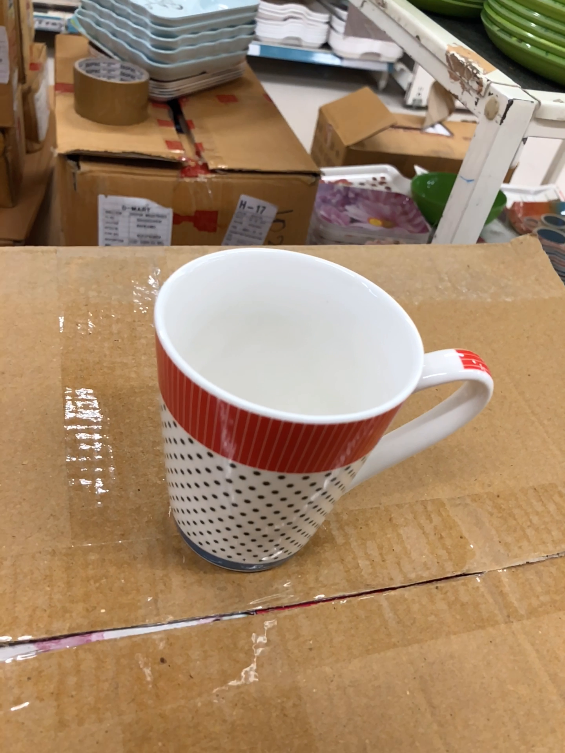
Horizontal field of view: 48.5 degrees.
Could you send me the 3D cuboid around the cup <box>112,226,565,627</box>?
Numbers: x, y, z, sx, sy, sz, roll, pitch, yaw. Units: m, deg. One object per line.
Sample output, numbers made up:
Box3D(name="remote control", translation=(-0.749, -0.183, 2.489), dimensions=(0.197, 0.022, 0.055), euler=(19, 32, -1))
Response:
Box3D(name="cup", translation=(0.008, 0.011, 0.225), dimensions=(0.120, 0.089, 0.090), euler=(-7, 46, -22))
